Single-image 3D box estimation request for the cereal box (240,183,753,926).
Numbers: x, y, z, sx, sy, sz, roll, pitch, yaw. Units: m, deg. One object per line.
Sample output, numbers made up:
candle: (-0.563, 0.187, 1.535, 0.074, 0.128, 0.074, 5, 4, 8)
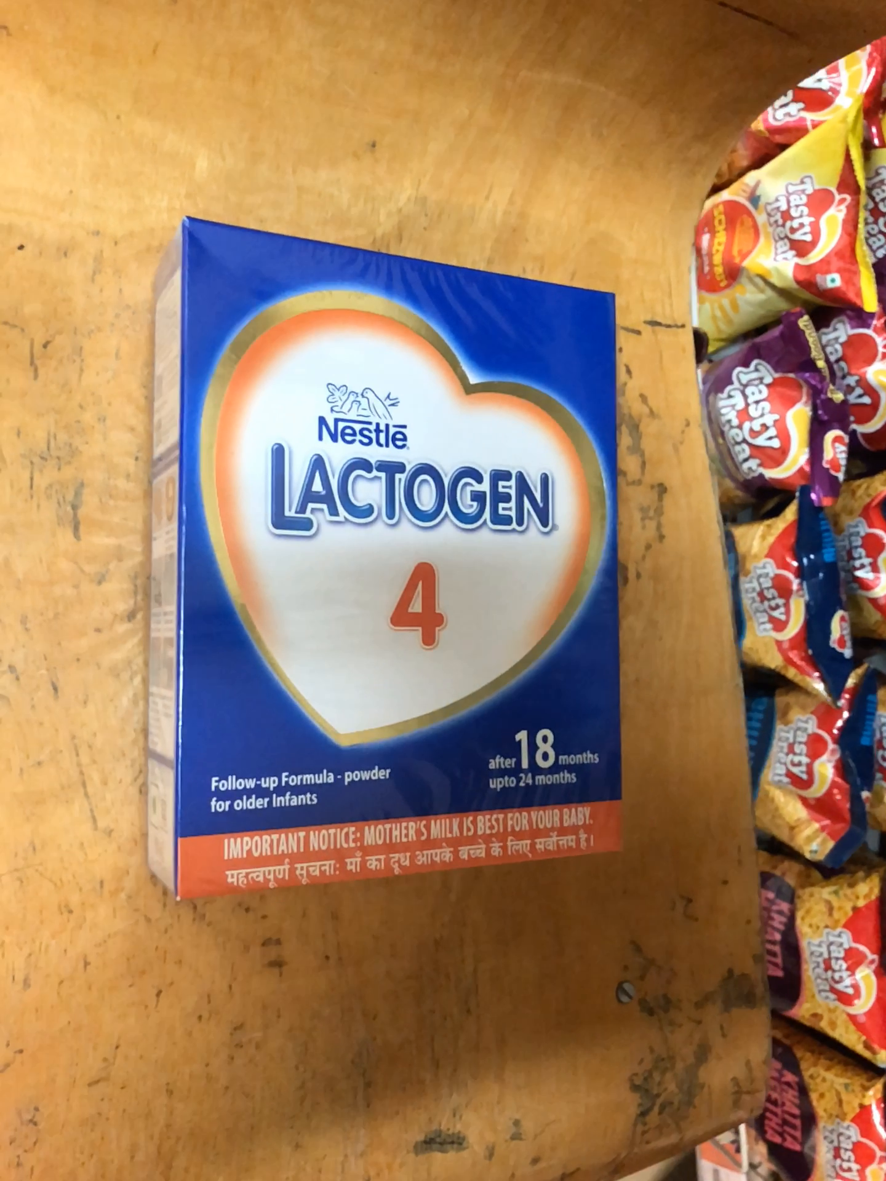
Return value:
cereal box: (0.018, -0.009, 0.311, 0.150, 0.060, 0.190, 1, 88, -26)
